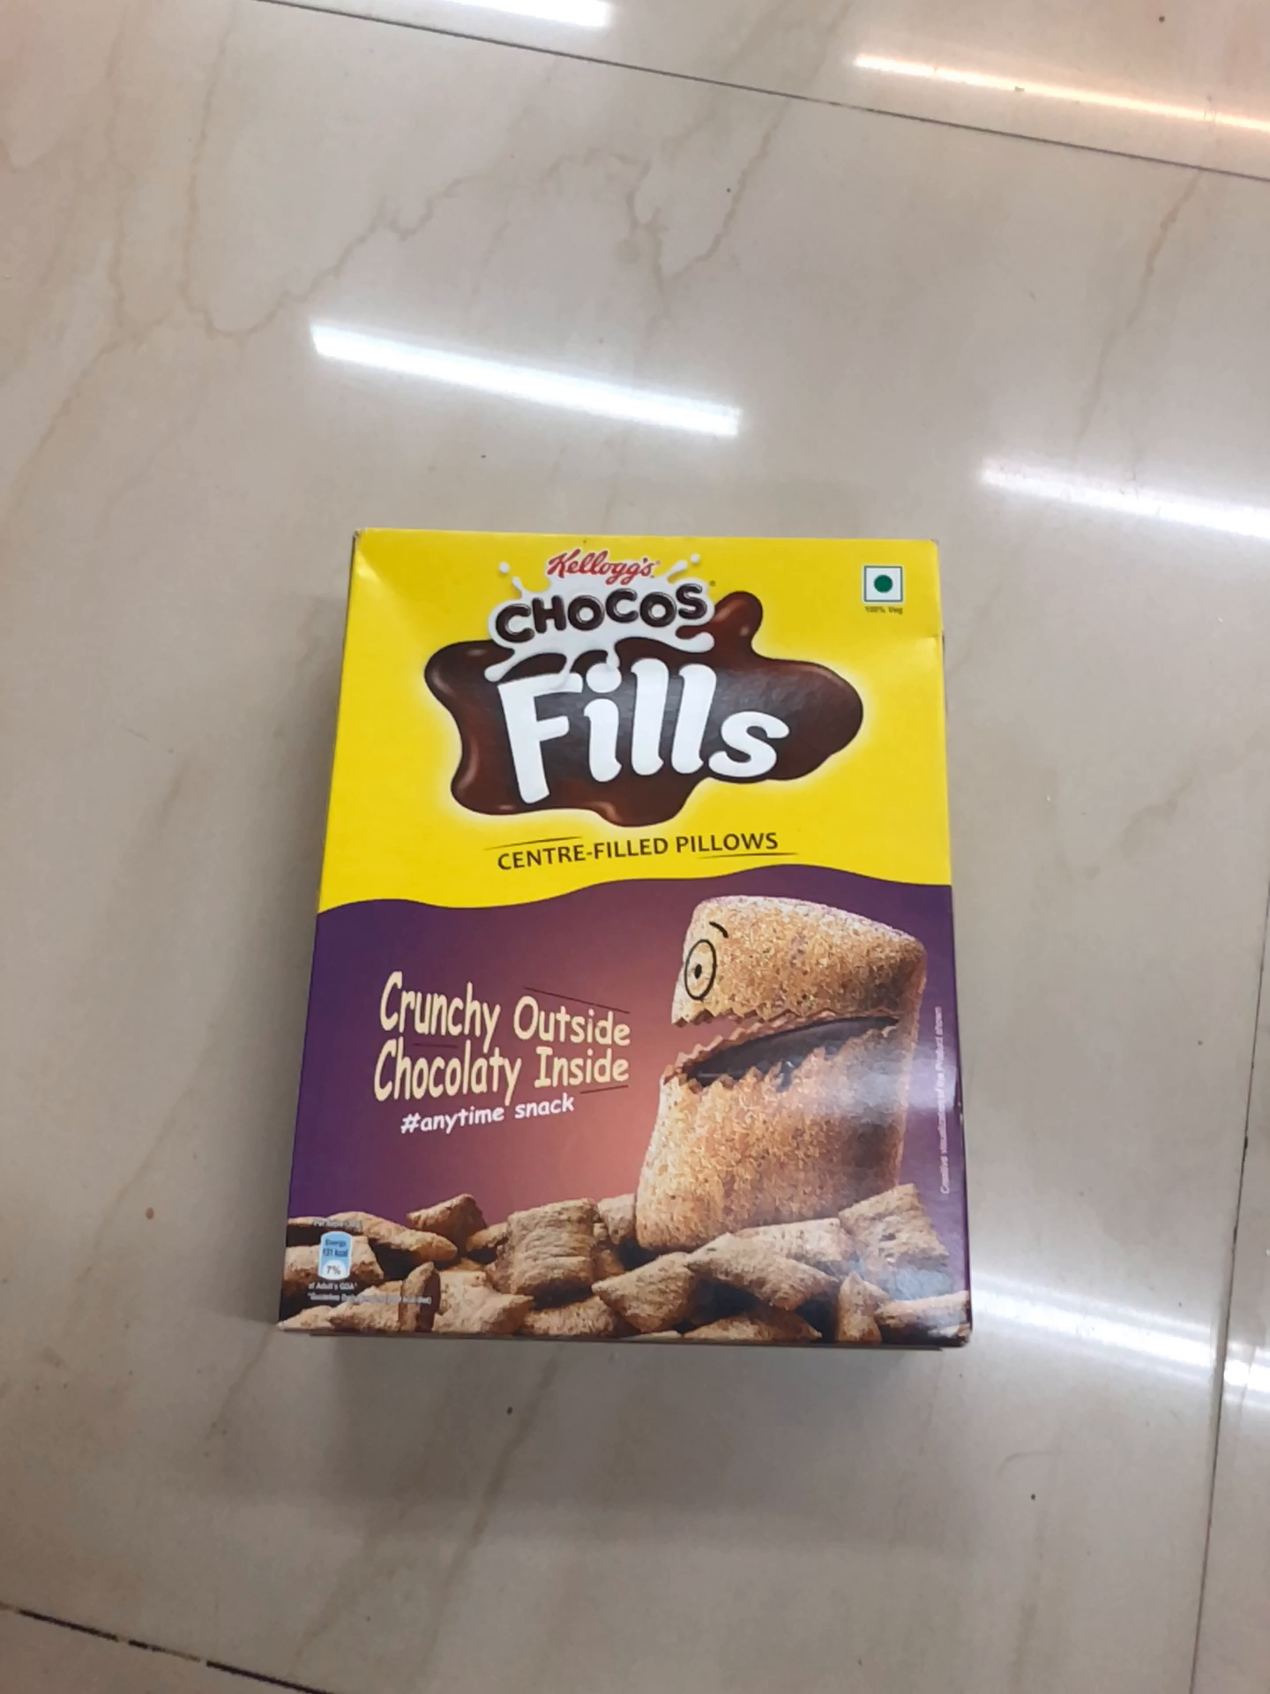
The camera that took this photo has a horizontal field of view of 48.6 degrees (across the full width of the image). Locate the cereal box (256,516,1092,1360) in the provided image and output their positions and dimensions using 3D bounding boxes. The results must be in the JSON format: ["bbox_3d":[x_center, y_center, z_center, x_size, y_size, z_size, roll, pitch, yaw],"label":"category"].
[{"bbox_3d":[0.011,0.024,0.408,0.200,0.070,0.230,1,70,0],"label":"cereal box"}]
